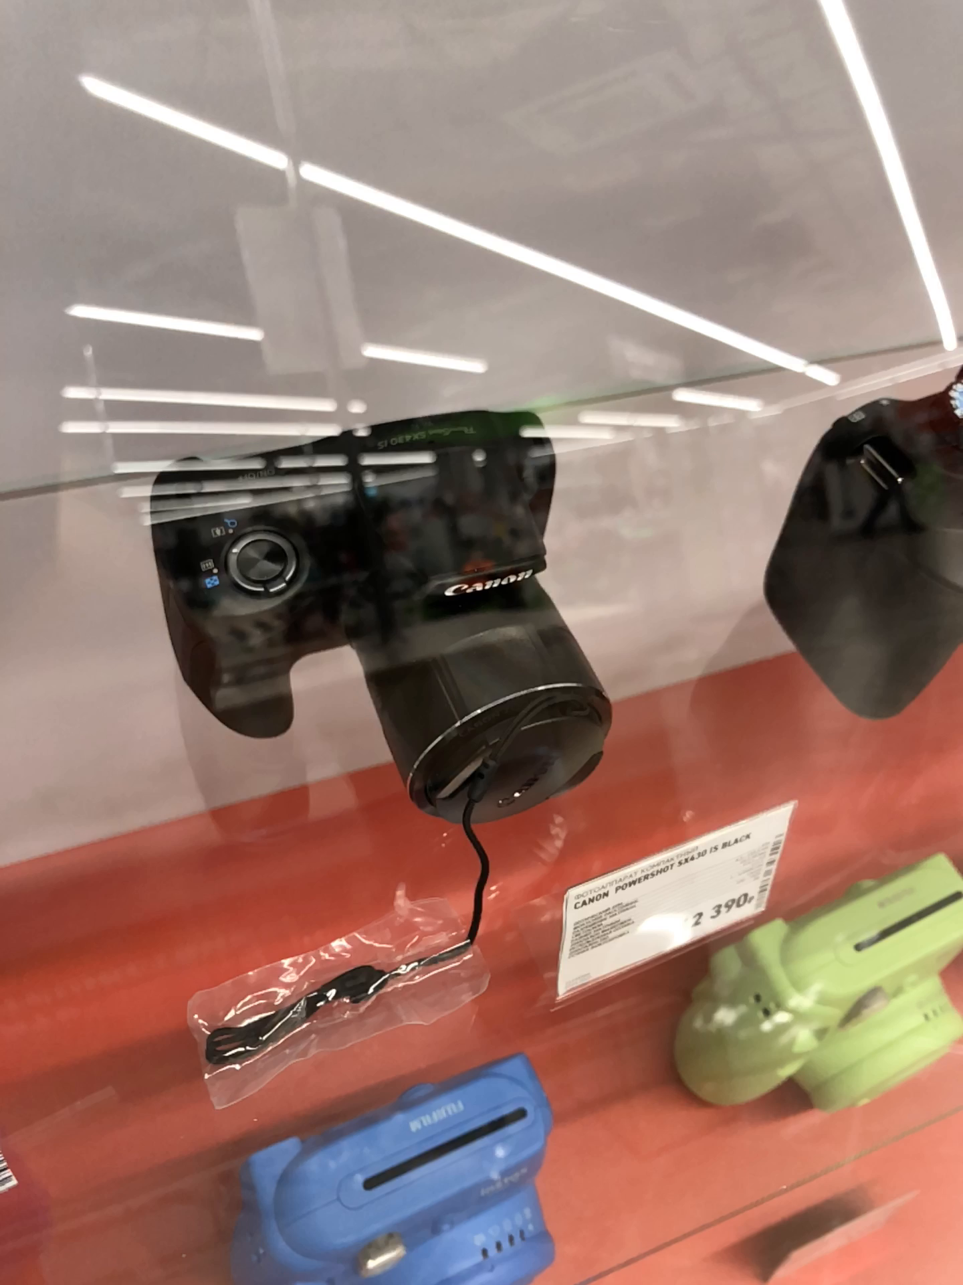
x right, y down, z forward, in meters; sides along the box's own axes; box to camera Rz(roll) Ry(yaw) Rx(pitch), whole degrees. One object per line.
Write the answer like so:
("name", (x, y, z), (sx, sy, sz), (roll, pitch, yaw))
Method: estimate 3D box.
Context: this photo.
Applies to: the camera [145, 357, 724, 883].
("camera", (-0.018, -0.008, 0.282), (0.113, 0.080, 0.086), (-13, 57, -19))
